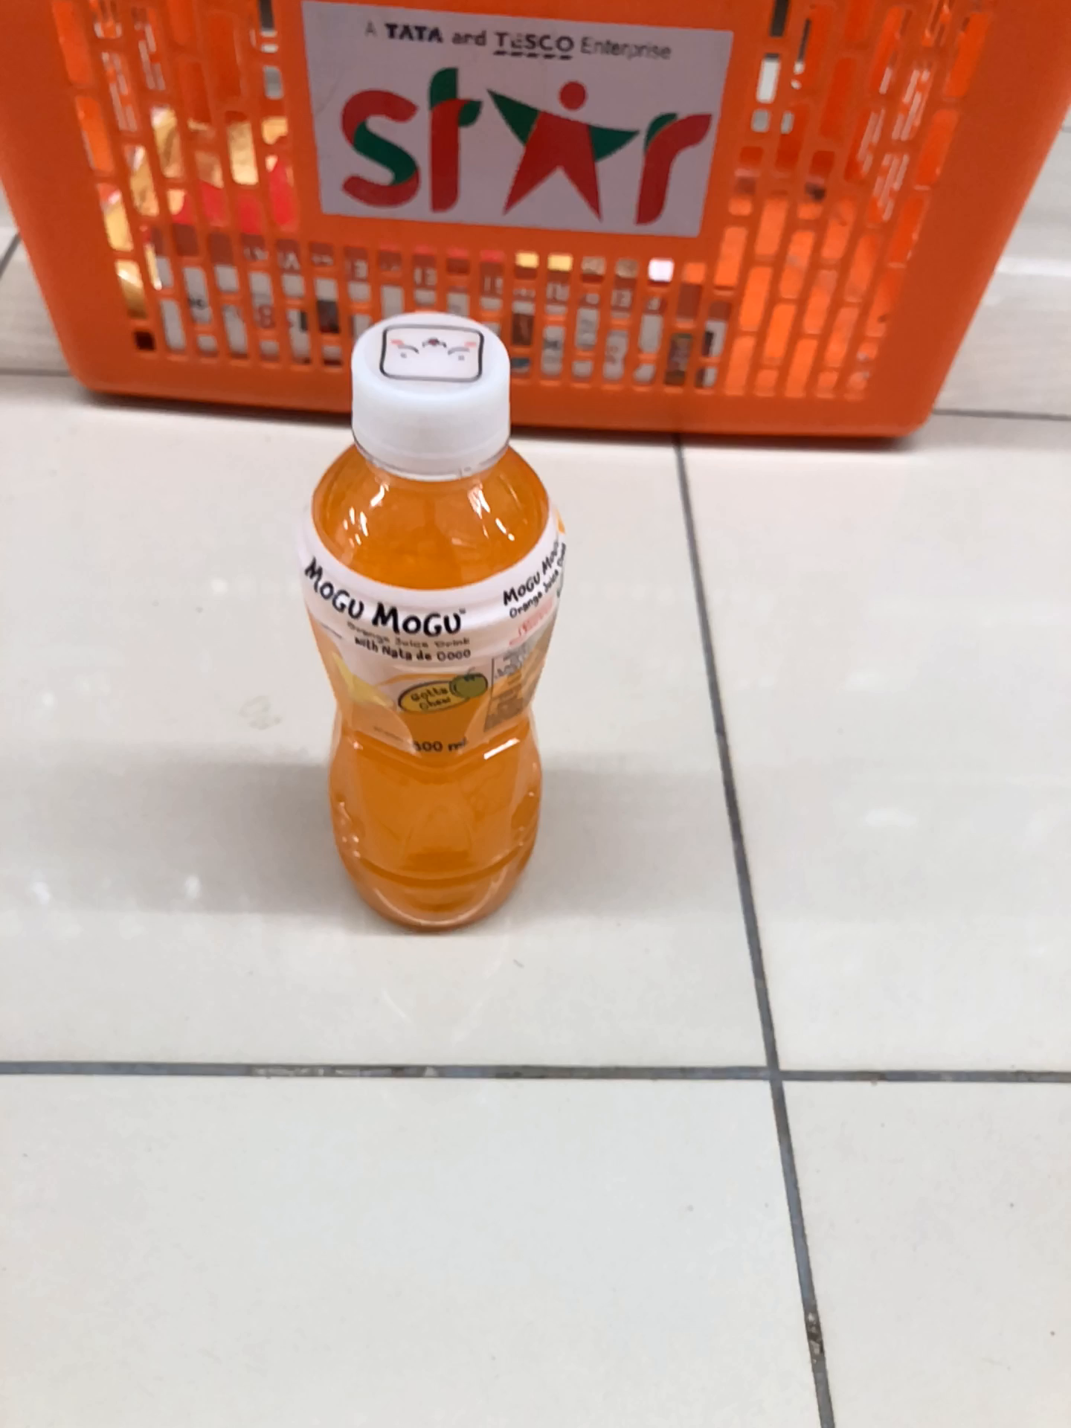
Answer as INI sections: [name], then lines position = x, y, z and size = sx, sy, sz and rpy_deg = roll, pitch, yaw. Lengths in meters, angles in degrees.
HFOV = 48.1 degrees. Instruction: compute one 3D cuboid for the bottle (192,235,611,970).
[bottle]
position = -0.025, -0.015, 0.277
size = 0.060, 0.159, 0.066
rpy_deg = 2, 49, -2
